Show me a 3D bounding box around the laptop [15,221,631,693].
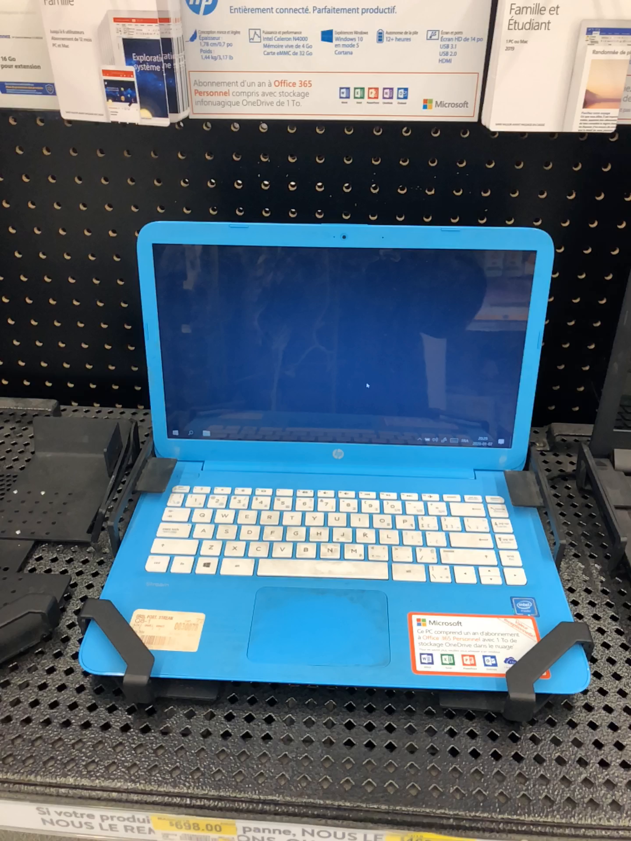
[{"bbox_3d":[0.014,0.003,0.499,0.318,0.197,0.270,1,35,3],"label":"laptop"}]
